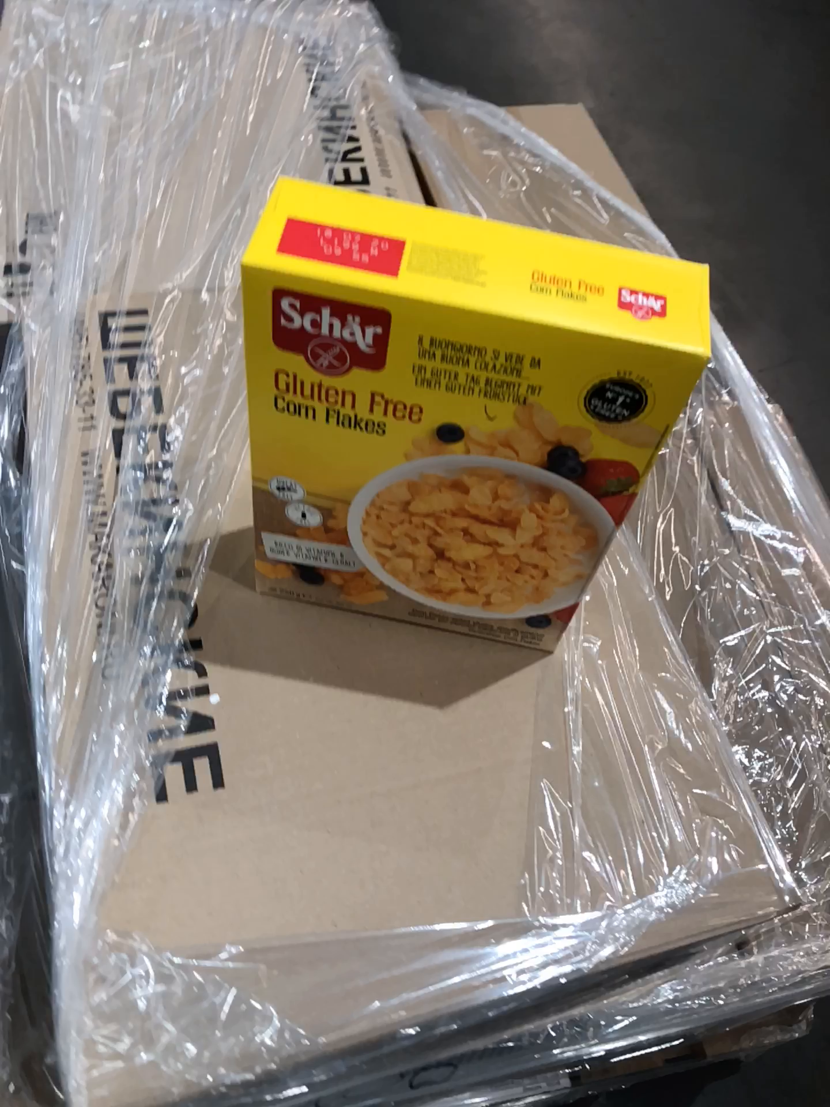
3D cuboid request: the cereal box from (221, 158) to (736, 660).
[{"bbox_3d":[0.013,-0.050,0.465,0.200,0.249,0.060,12,55,-1],"label":"cereal box"}]
